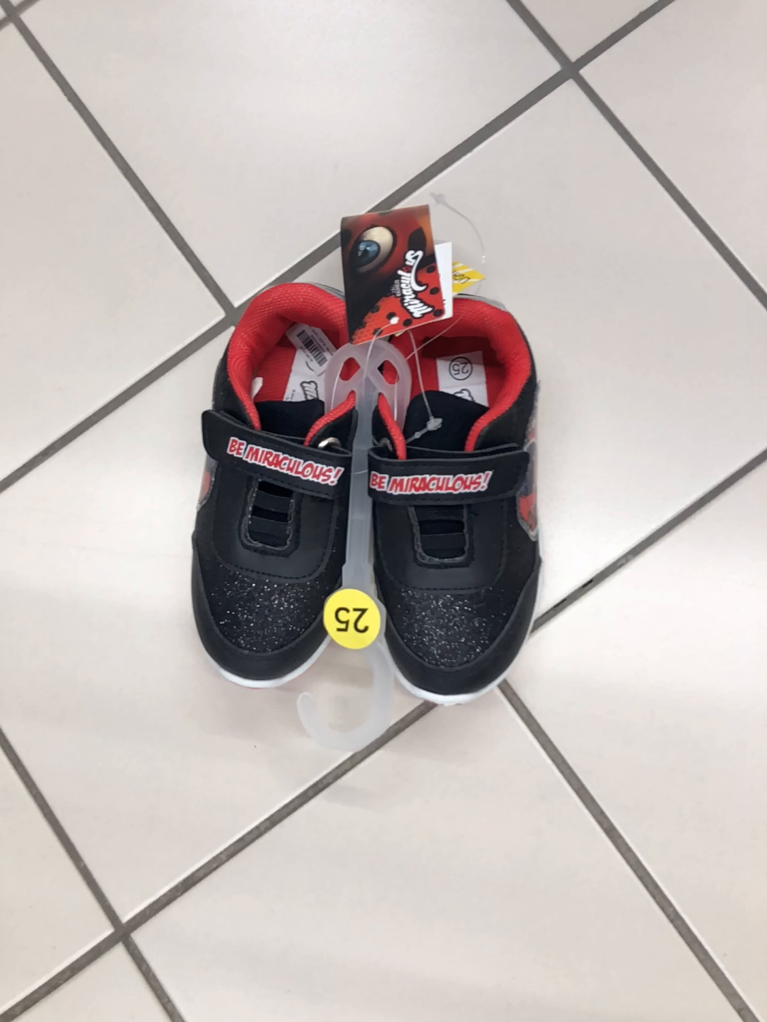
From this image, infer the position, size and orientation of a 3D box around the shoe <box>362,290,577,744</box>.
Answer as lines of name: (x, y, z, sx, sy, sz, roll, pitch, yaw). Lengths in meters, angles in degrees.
shoe: (0.033, 0.004, 0.346, 0.077, 0.071, 0.168, -1, 83, 4)

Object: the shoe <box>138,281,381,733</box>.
shoe: (-0.045, -0.001, 0.346, 0.075, 0.070, 0.166, 2, 83, 4)
